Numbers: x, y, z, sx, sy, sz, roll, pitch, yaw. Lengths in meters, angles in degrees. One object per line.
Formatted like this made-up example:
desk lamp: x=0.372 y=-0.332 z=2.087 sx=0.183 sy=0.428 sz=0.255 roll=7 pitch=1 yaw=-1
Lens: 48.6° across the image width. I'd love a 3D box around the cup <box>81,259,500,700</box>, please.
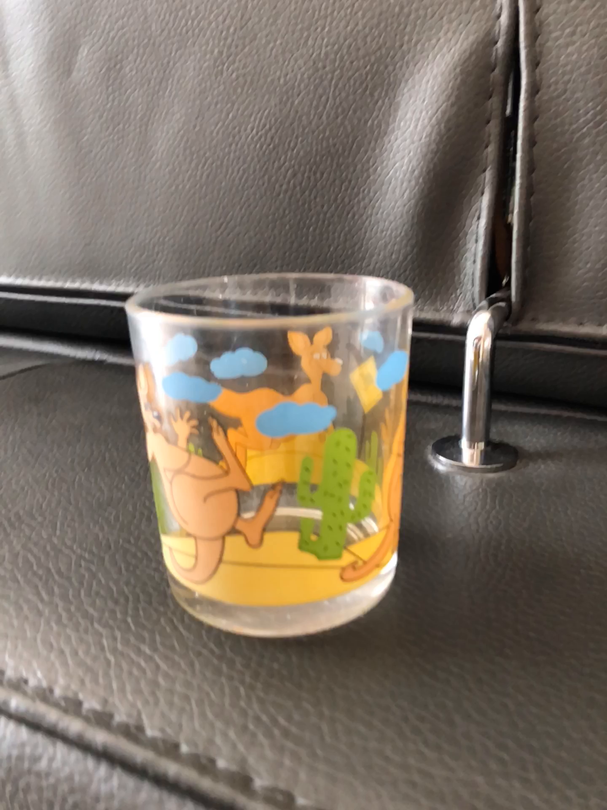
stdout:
cup: x=-0.004 y=0.008 z=0.181 sx=0.070 sy=0.080 sz=0.080 roll=-17 pitch=24 yaw=-38
